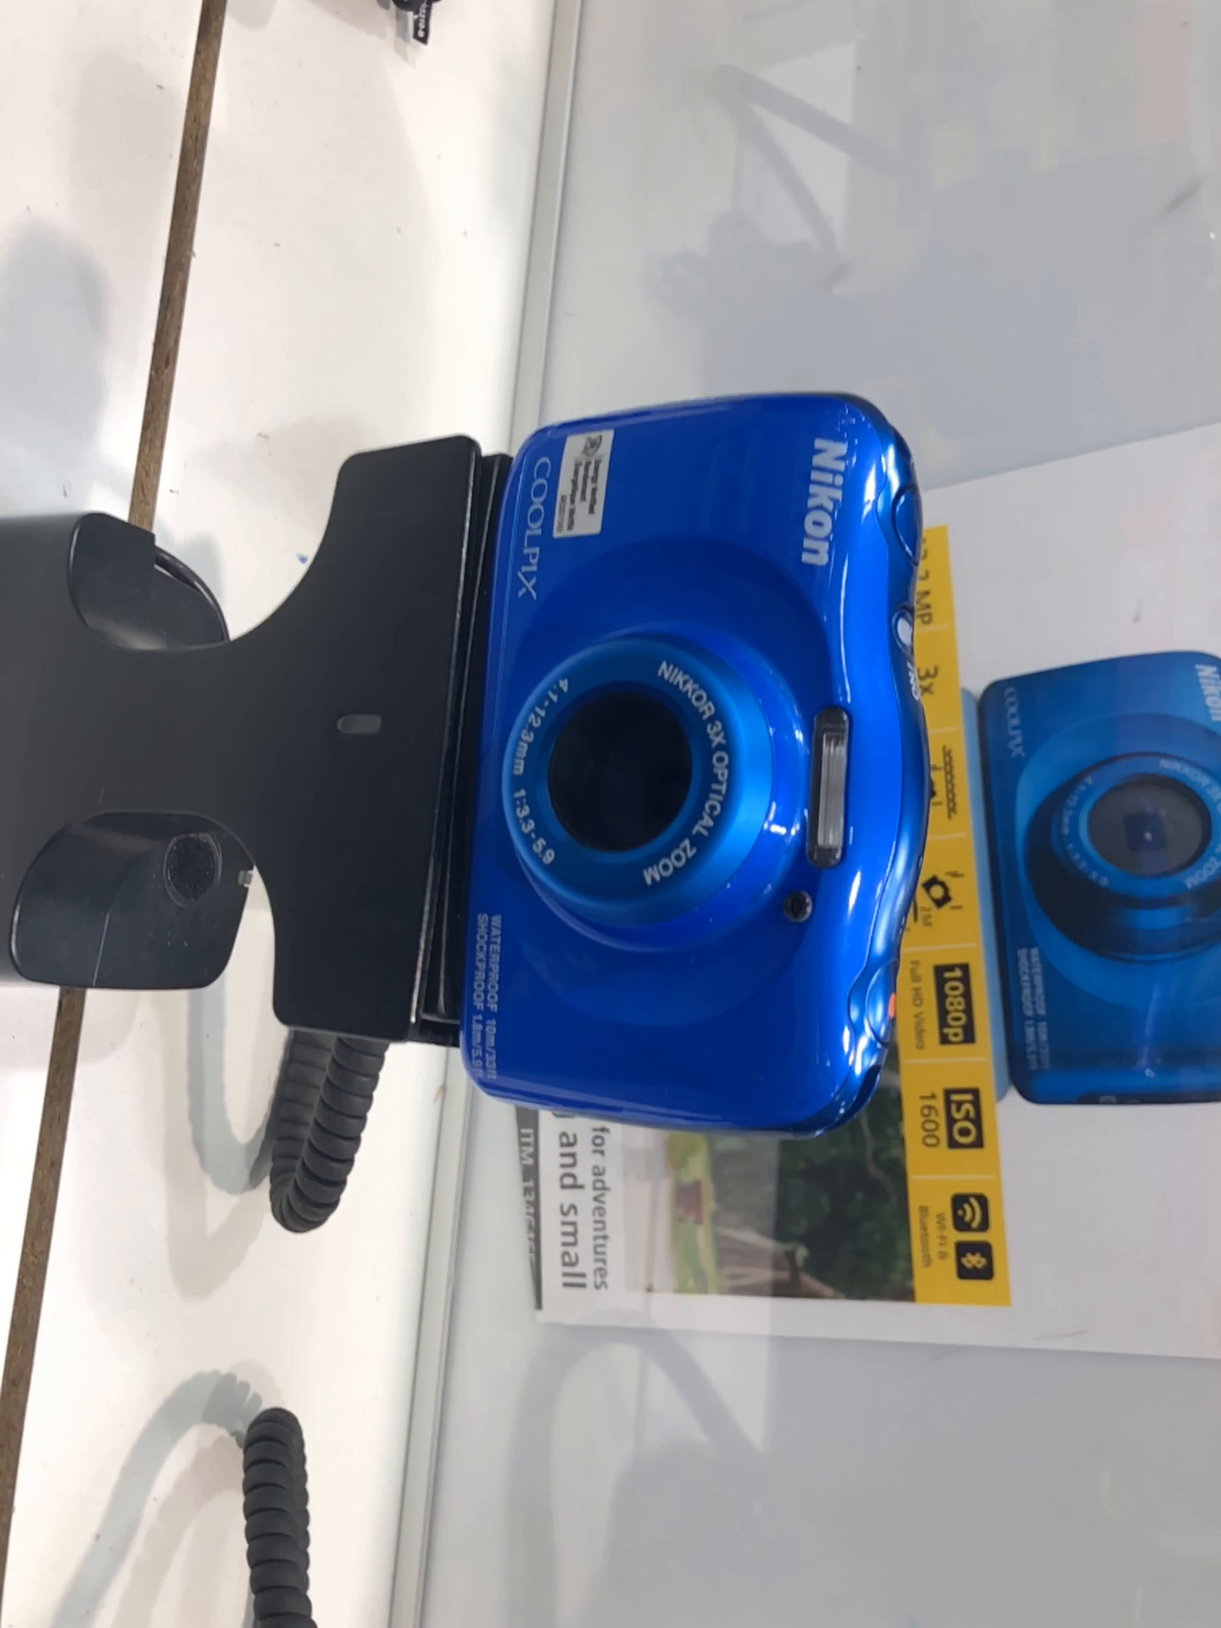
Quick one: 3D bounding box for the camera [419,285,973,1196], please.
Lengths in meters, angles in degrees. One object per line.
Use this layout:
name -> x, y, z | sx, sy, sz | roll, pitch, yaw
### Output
camera -> 0.017, -0.009, 0.228 | 0.050, 0.070, 0.130 | 19, 73, -61
